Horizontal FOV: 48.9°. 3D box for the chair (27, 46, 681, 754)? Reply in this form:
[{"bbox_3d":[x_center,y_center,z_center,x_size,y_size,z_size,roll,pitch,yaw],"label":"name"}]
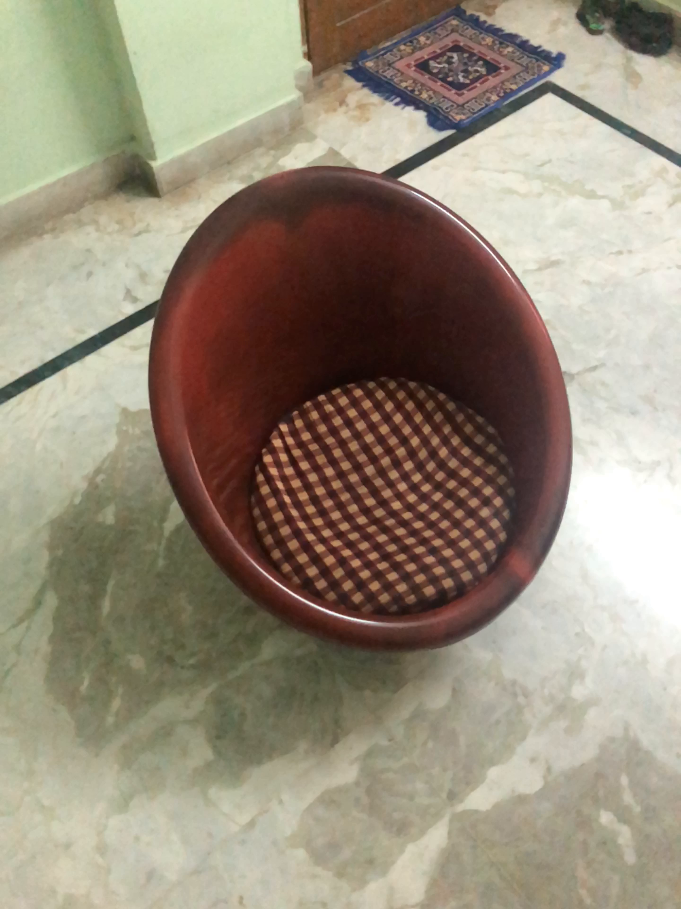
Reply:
[{"bbox_3d":[0.058,-0.083,1.097,0.671,0.547,0.632,-25,59,-14],"label":"chair"}]
